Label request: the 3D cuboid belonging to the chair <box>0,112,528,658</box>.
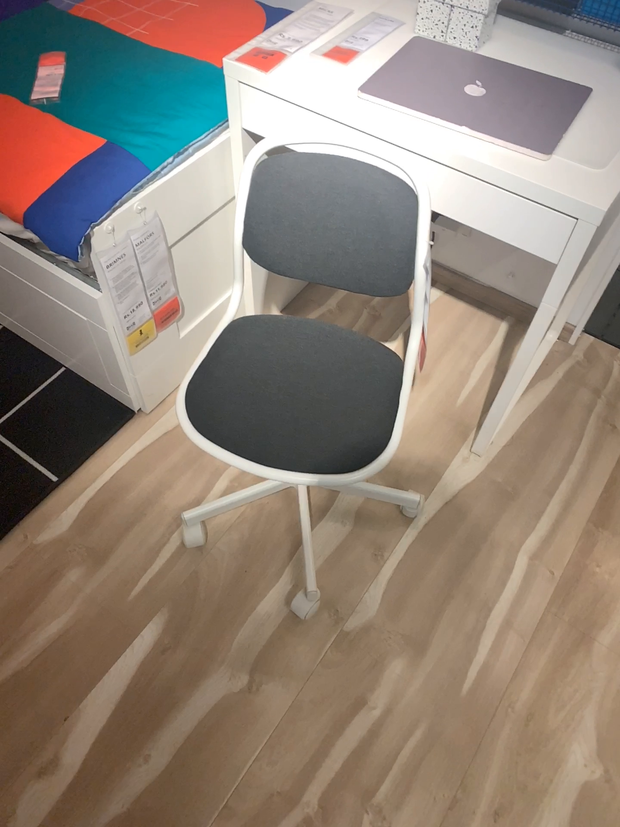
[{"bbox_3d":[-0.022,-0.029,1.110,0.570,0.628,0.591,14,56,8],"label":"chair"}]
